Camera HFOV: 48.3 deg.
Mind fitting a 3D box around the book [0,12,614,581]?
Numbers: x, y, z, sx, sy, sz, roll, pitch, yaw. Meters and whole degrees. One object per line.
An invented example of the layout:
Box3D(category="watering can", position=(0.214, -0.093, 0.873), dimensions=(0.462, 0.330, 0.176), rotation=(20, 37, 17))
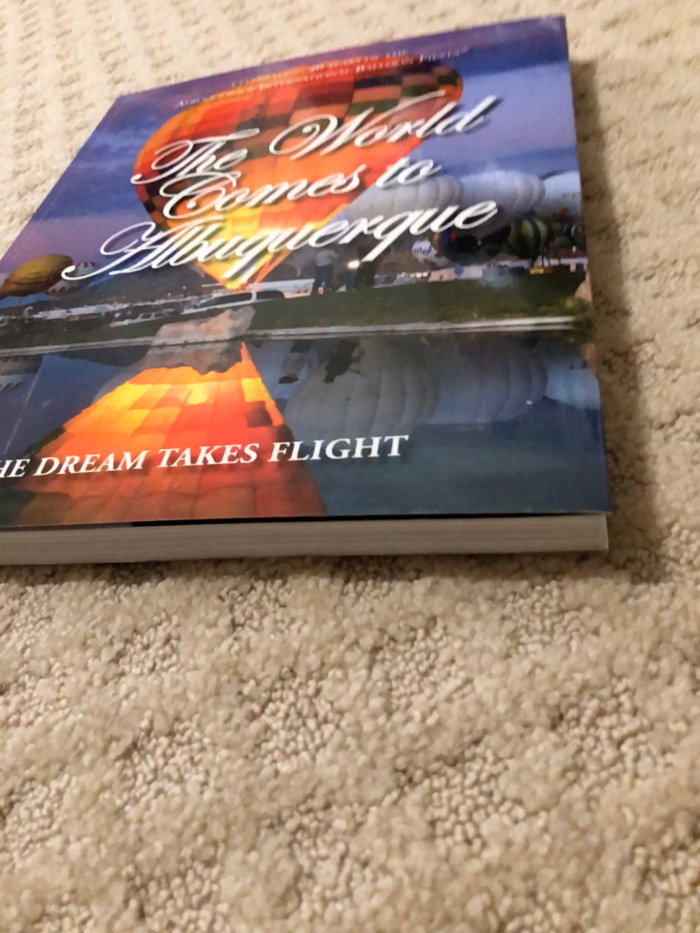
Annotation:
Box3D(category="book", position=(-0.027, -0.076, 0.268), dimensions=(0.204, 0.023, 0.259), rotation=(-3, 48, 15))
